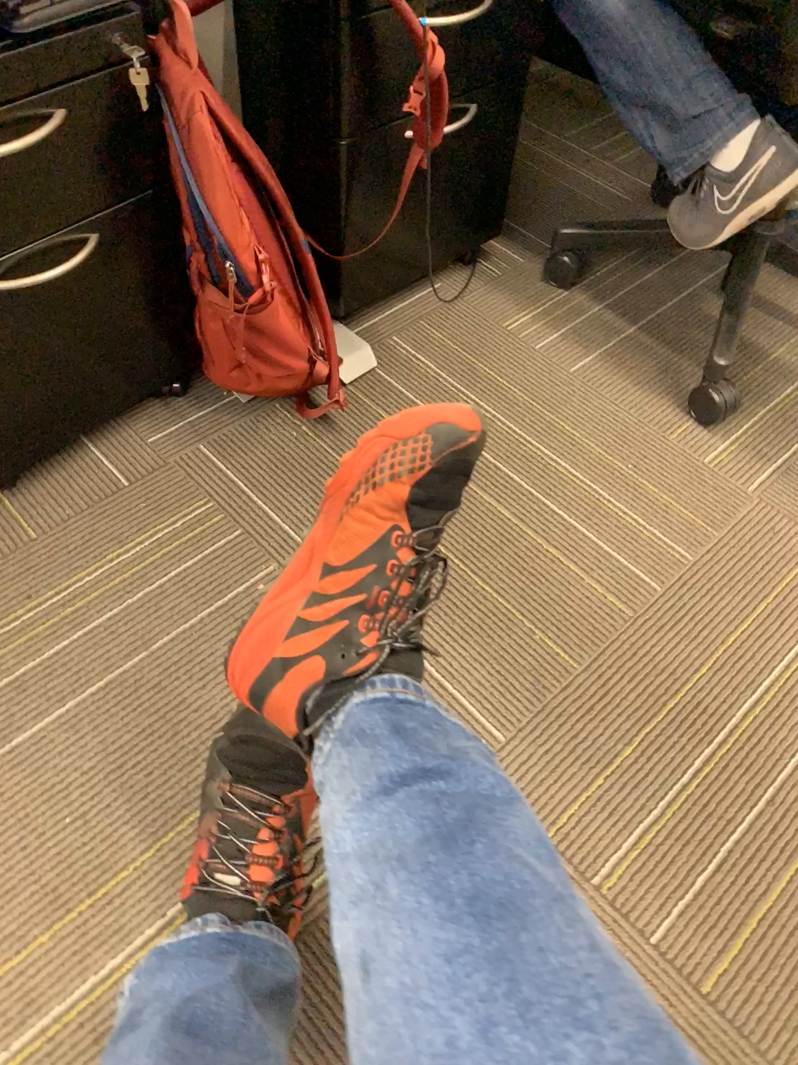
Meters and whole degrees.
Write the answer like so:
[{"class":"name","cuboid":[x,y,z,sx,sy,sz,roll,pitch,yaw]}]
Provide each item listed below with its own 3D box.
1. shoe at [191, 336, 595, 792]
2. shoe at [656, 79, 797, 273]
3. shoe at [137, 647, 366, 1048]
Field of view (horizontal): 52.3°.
[{"class":"shoe","cuboid":[-0.013,0.024,0.619,0.143,0.304,0.118,40,26,17]},{"class":"shoe","cuboid":[0.700,-0.682,1.599,0.155,0.356,0.164,-37,95,-11]},{"class":"shoe","cuboid":[-0.126,0.270,0.737,0.129,0.135,0.289,11,93,3]}]
